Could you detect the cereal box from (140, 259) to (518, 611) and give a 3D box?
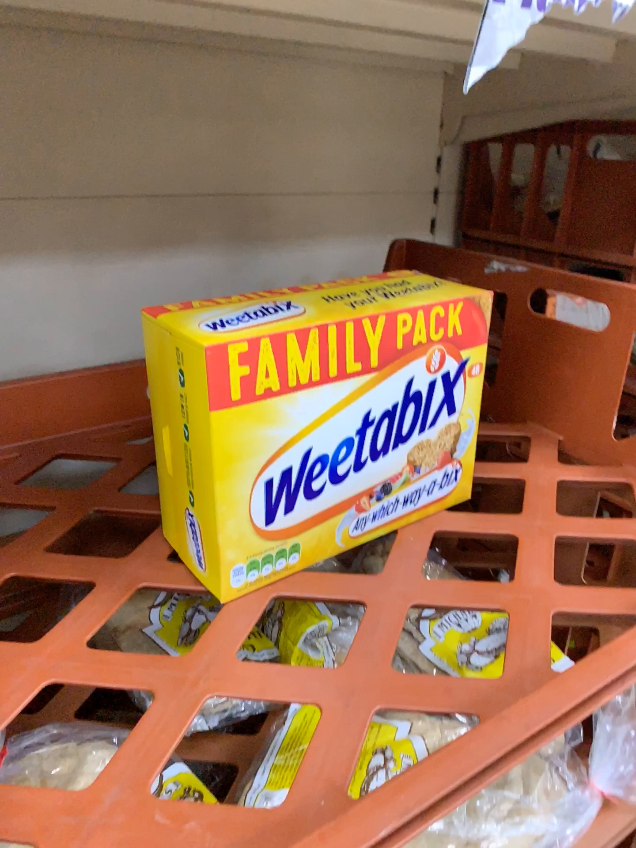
[{"bbox_3d":[0.016,-0.011,0.497,0.261,0.188,0.100,-16,29,-34],"label":"cereal box"}]
